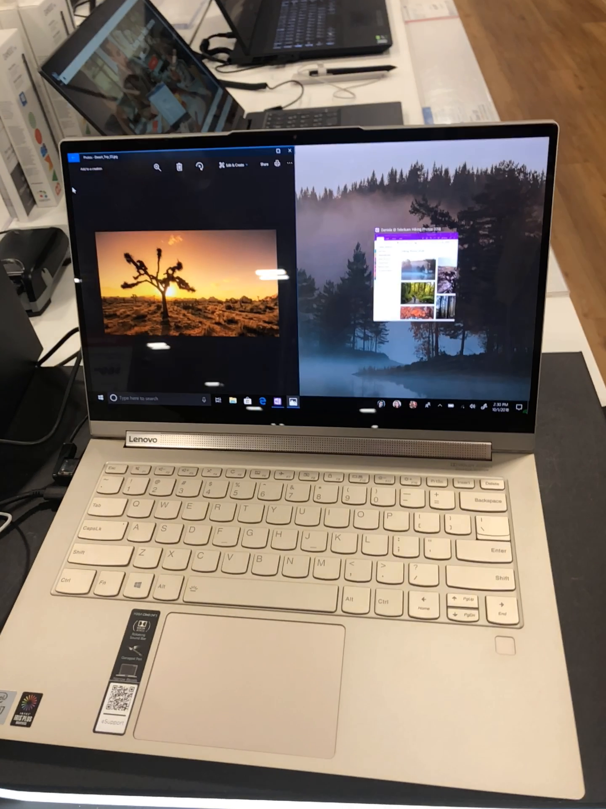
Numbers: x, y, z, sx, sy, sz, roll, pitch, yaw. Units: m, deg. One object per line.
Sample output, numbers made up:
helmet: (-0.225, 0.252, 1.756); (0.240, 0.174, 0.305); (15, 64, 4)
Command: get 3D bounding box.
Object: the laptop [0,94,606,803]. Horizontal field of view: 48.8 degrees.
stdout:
laptop: (-0.021, -0.009, 0.384); (0.320, 0.170, 0.327); (2, 49, 10)
